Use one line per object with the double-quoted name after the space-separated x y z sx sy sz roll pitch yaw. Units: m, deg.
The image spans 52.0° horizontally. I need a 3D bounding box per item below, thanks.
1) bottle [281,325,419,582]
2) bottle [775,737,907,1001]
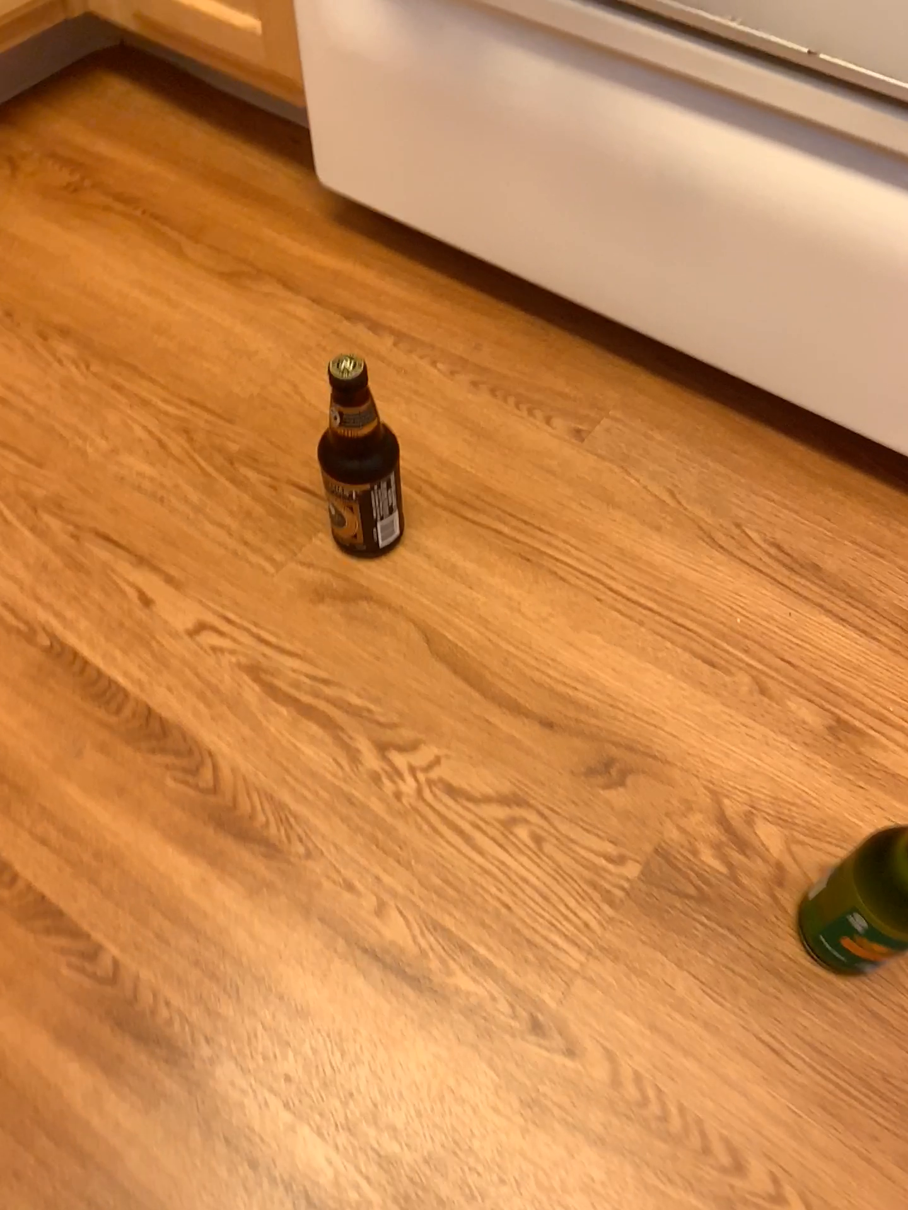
-0.074 -0.109 0.716 0.060 0.189 0.070 -37 65 -22 "bottle"
0.258 0.160 0.528 0.060 0.219 0.060 0 57 -1 "bottle"
